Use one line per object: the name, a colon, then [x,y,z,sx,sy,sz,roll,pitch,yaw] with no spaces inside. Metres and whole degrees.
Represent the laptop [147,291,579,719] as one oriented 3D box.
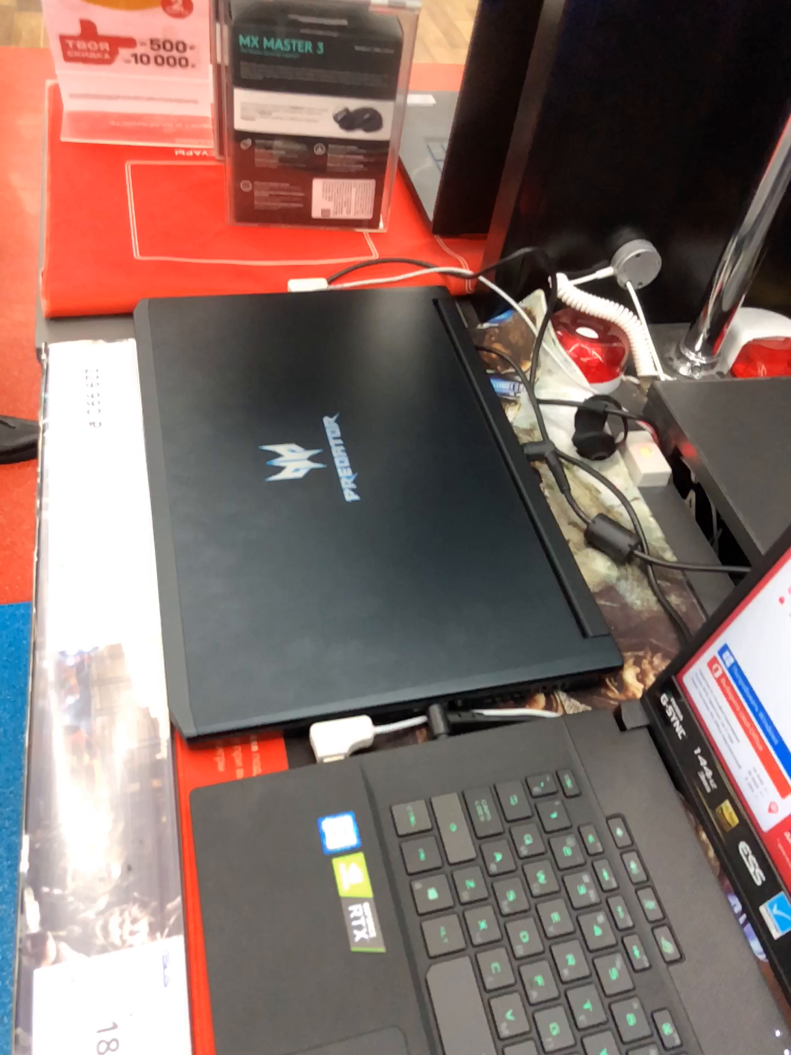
laptop: [-0.043,-0.048,0.589,0.221,0.006,0.355,-7,51,-14]
